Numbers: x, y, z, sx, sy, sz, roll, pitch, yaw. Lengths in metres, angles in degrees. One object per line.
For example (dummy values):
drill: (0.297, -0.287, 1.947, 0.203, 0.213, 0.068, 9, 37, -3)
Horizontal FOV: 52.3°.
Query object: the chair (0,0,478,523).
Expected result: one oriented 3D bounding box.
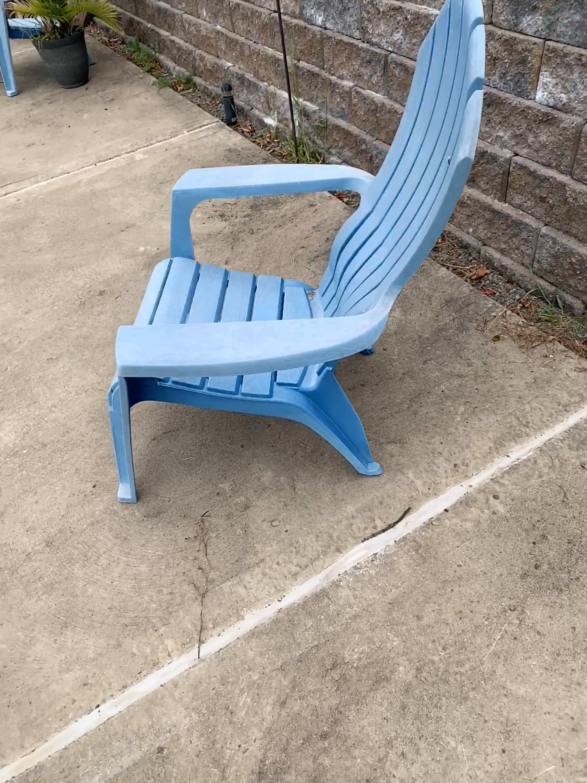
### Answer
chair: (-0.112, -0.281, 1.214, 0.760, 0.886, 0.703, -2, 46, 8)
